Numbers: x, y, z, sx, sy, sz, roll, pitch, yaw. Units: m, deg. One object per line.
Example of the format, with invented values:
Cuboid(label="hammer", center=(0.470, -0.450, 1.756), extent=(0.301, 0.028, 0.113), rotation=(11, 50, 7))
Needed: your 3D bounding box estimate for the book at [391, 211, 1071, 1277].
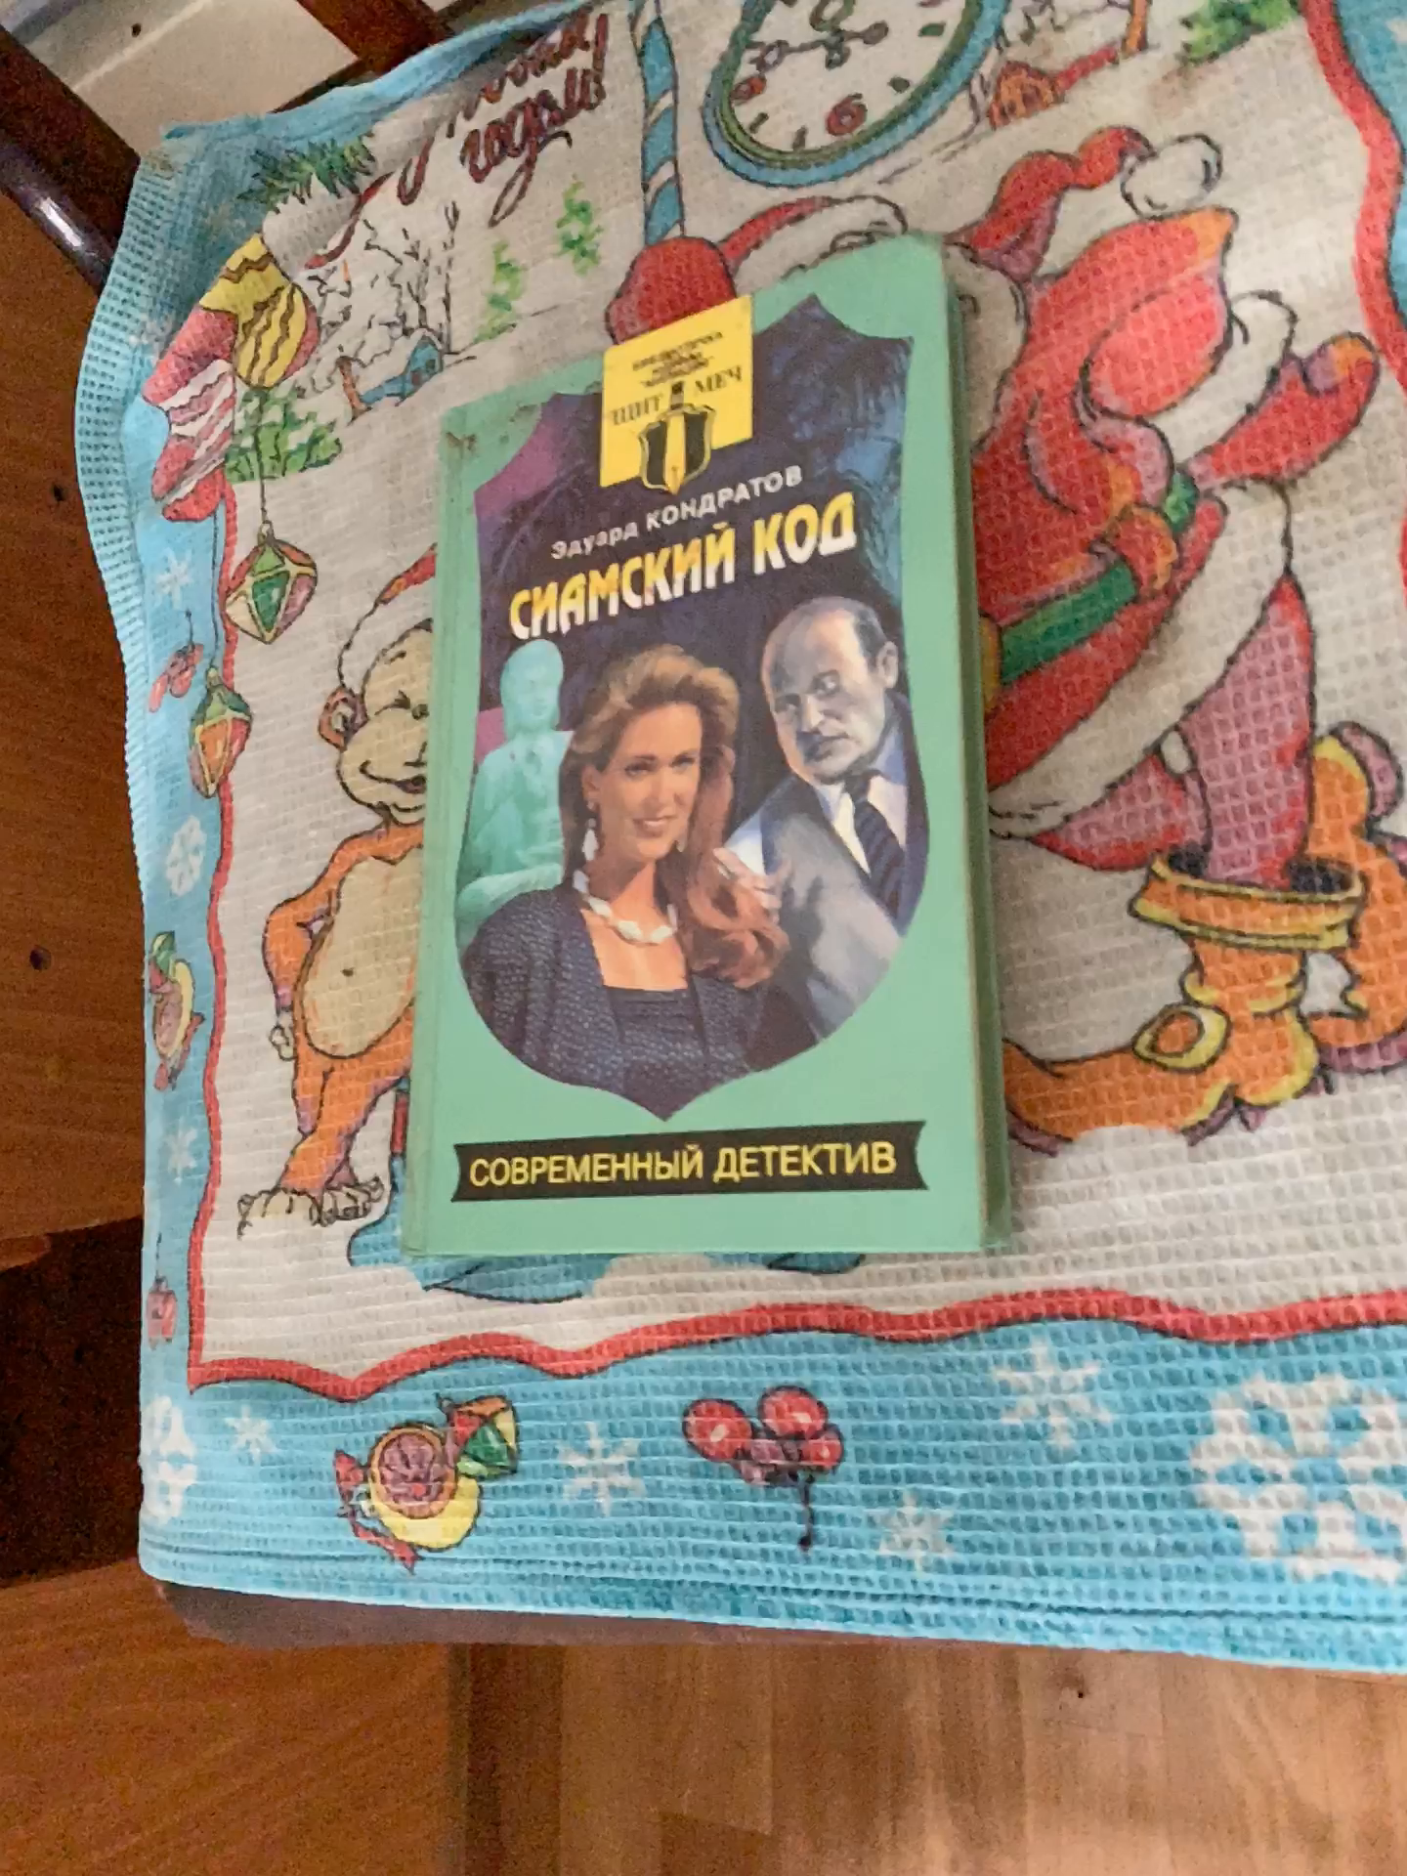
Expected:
Cuboid(label="book", center=(-0.001, -0.032, 0.302), extent=(0.140, 0.023, 0.200), rotation=(-8, 75, 32))
